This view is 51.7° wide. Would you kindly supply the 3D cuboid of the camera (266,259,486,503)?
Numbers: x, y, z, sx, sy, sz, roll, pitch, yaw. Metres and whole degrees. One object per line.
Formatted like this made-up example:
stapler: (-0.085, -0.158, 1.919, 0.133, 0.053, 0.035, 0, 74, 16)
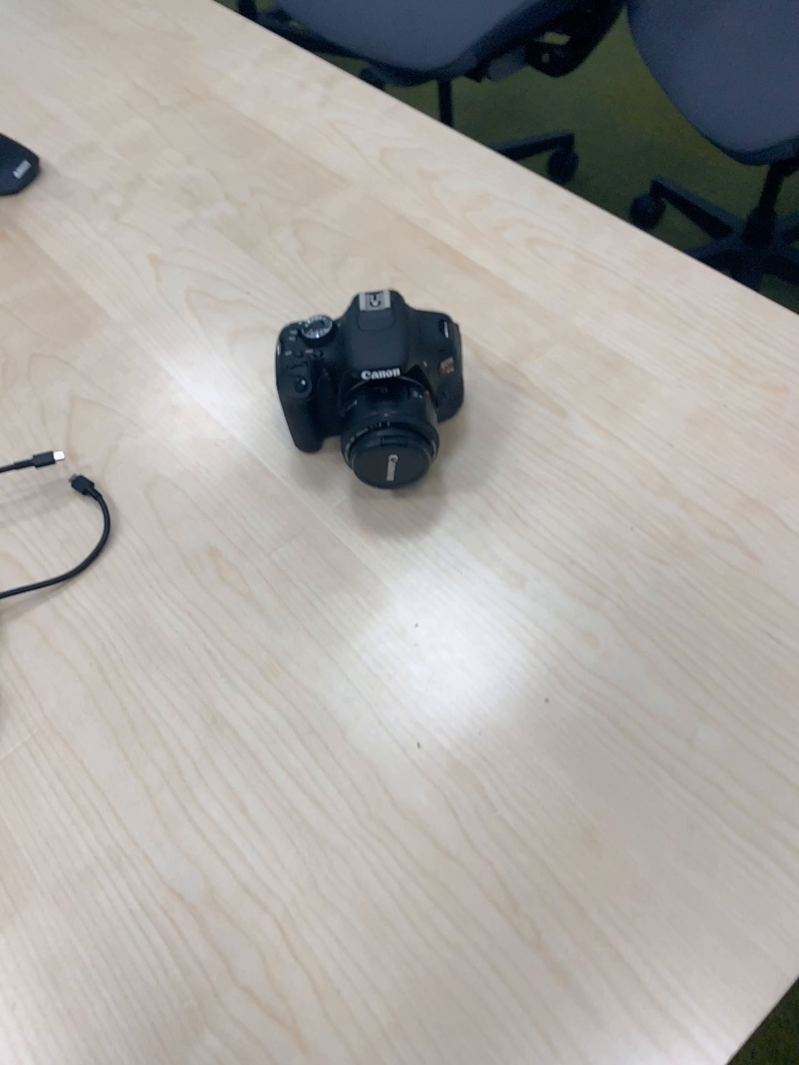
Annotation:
camera: (-0.014, -0.101, 0.559, 0.130, 0.090, 0.120, -6, 56, 3)
